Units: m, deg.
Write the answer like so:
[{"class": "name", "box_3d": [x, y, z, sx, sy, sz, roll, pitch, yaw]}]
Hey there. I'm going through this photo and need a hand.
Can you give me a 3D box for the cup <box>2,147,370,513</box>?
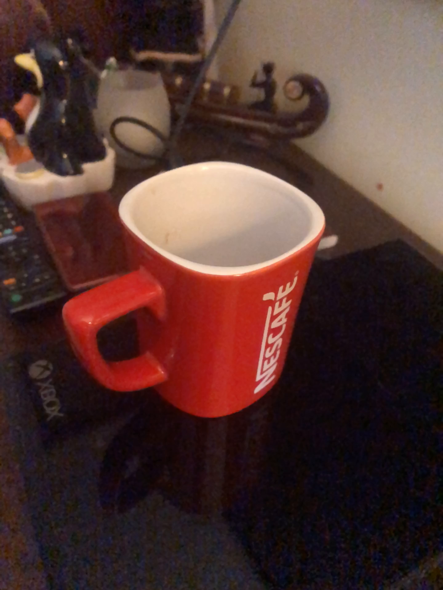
[{"class": "cup", "box_3d": [-0.013, 0.007, 0.214, 0.110, 0.089, 0.080, -29, 51, -32]}]
